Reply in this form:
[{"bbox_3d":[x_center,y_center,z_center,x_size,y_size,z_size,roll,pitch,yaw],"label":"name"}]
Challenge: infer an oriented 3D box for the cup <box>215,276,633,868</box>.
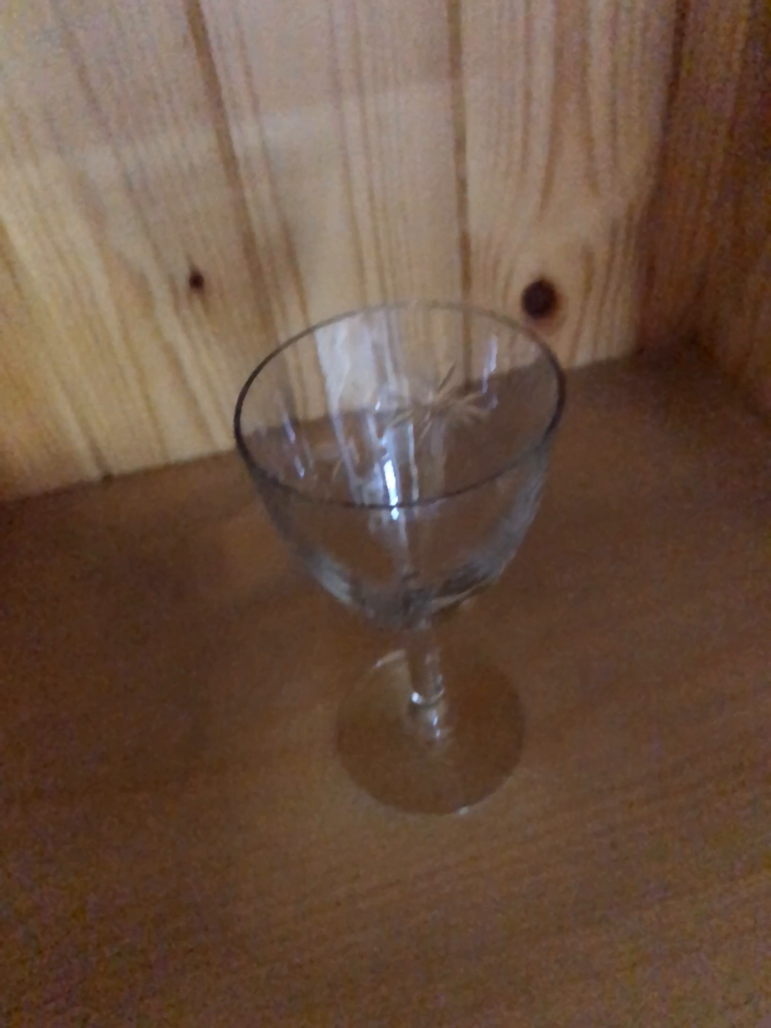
[{"bbox_3d":[0.012,0.024,0.218,0.070,0.139,0.070,-4,45,4],"label":"cup"}]
